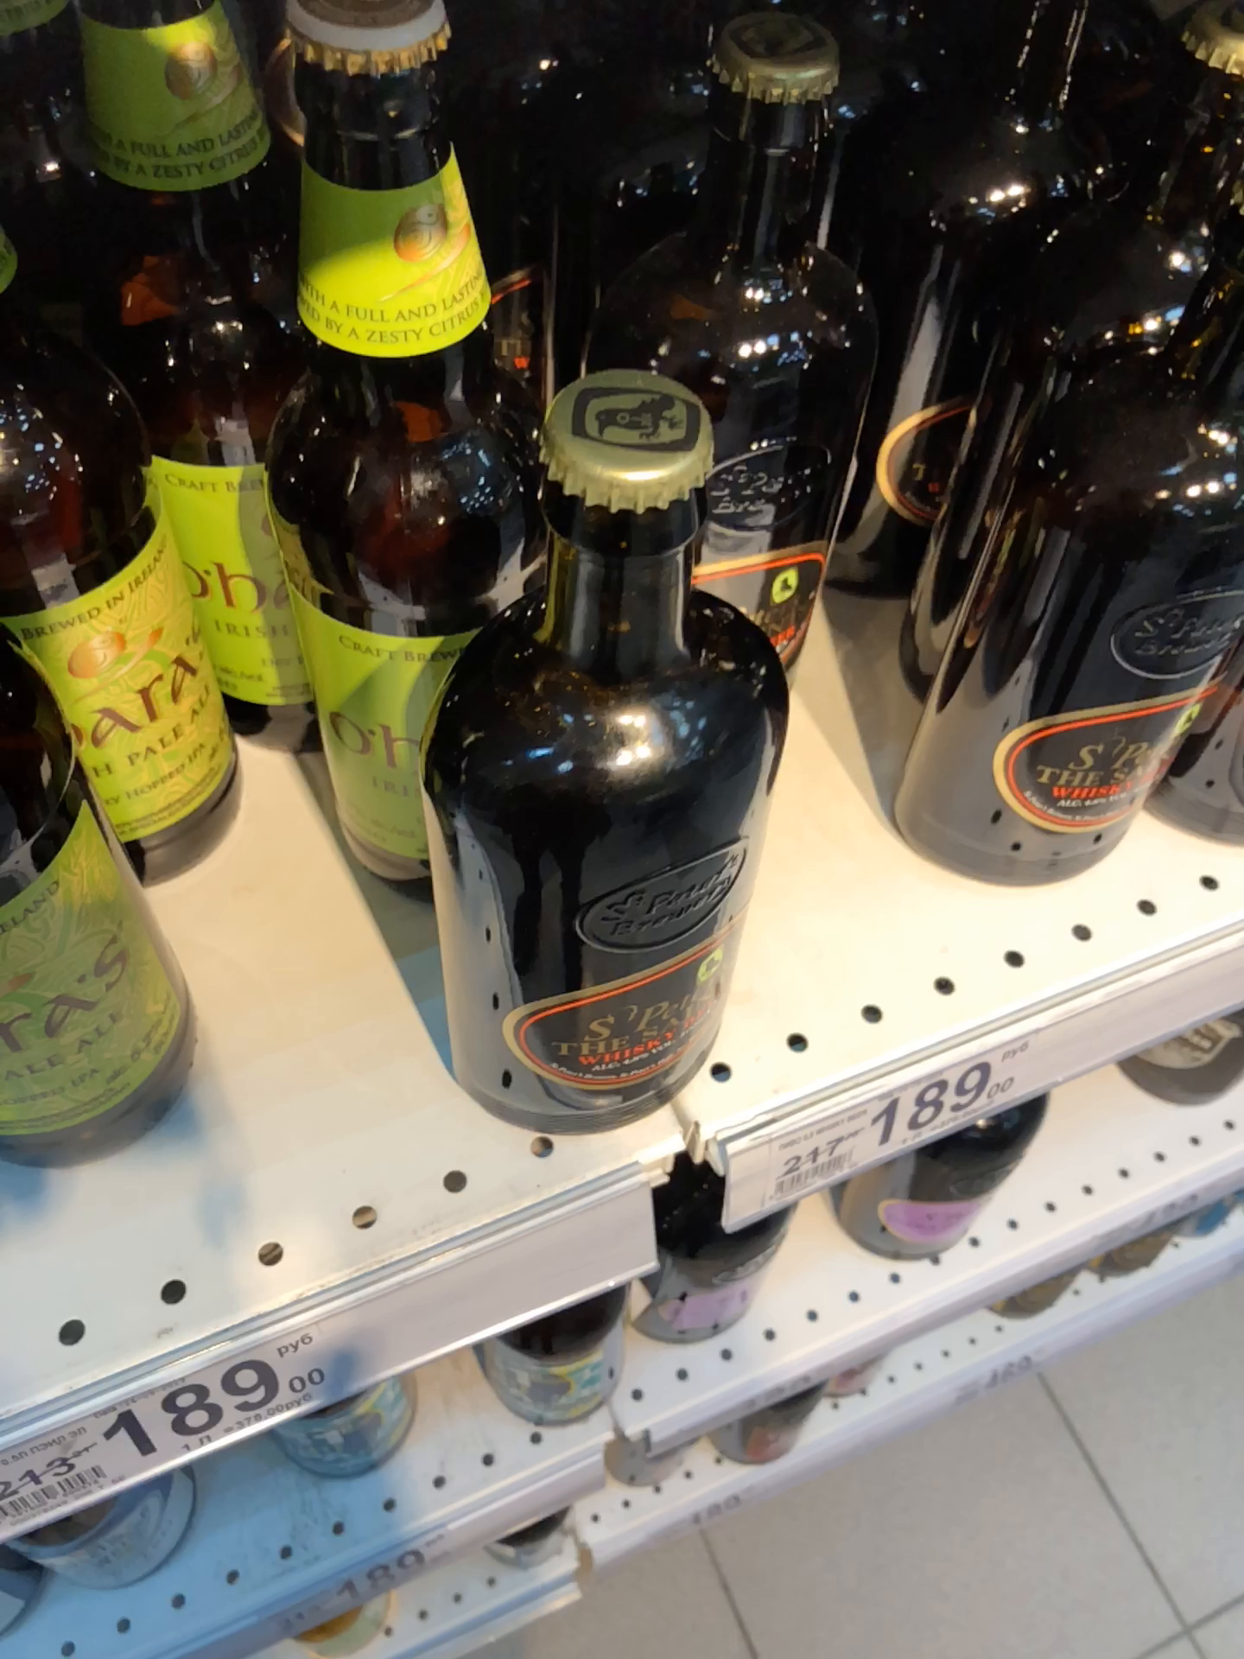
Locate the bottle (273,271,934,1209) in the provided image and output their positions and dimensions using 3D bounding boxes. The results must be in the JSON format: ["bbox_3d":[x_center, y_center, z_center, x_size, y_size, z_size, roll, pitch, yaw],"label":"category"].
[{"bbox_3d":[-0.010,0.002,0.316,0.090,0.229,0.060,-19,58,-16],"label":"bottle"}]
